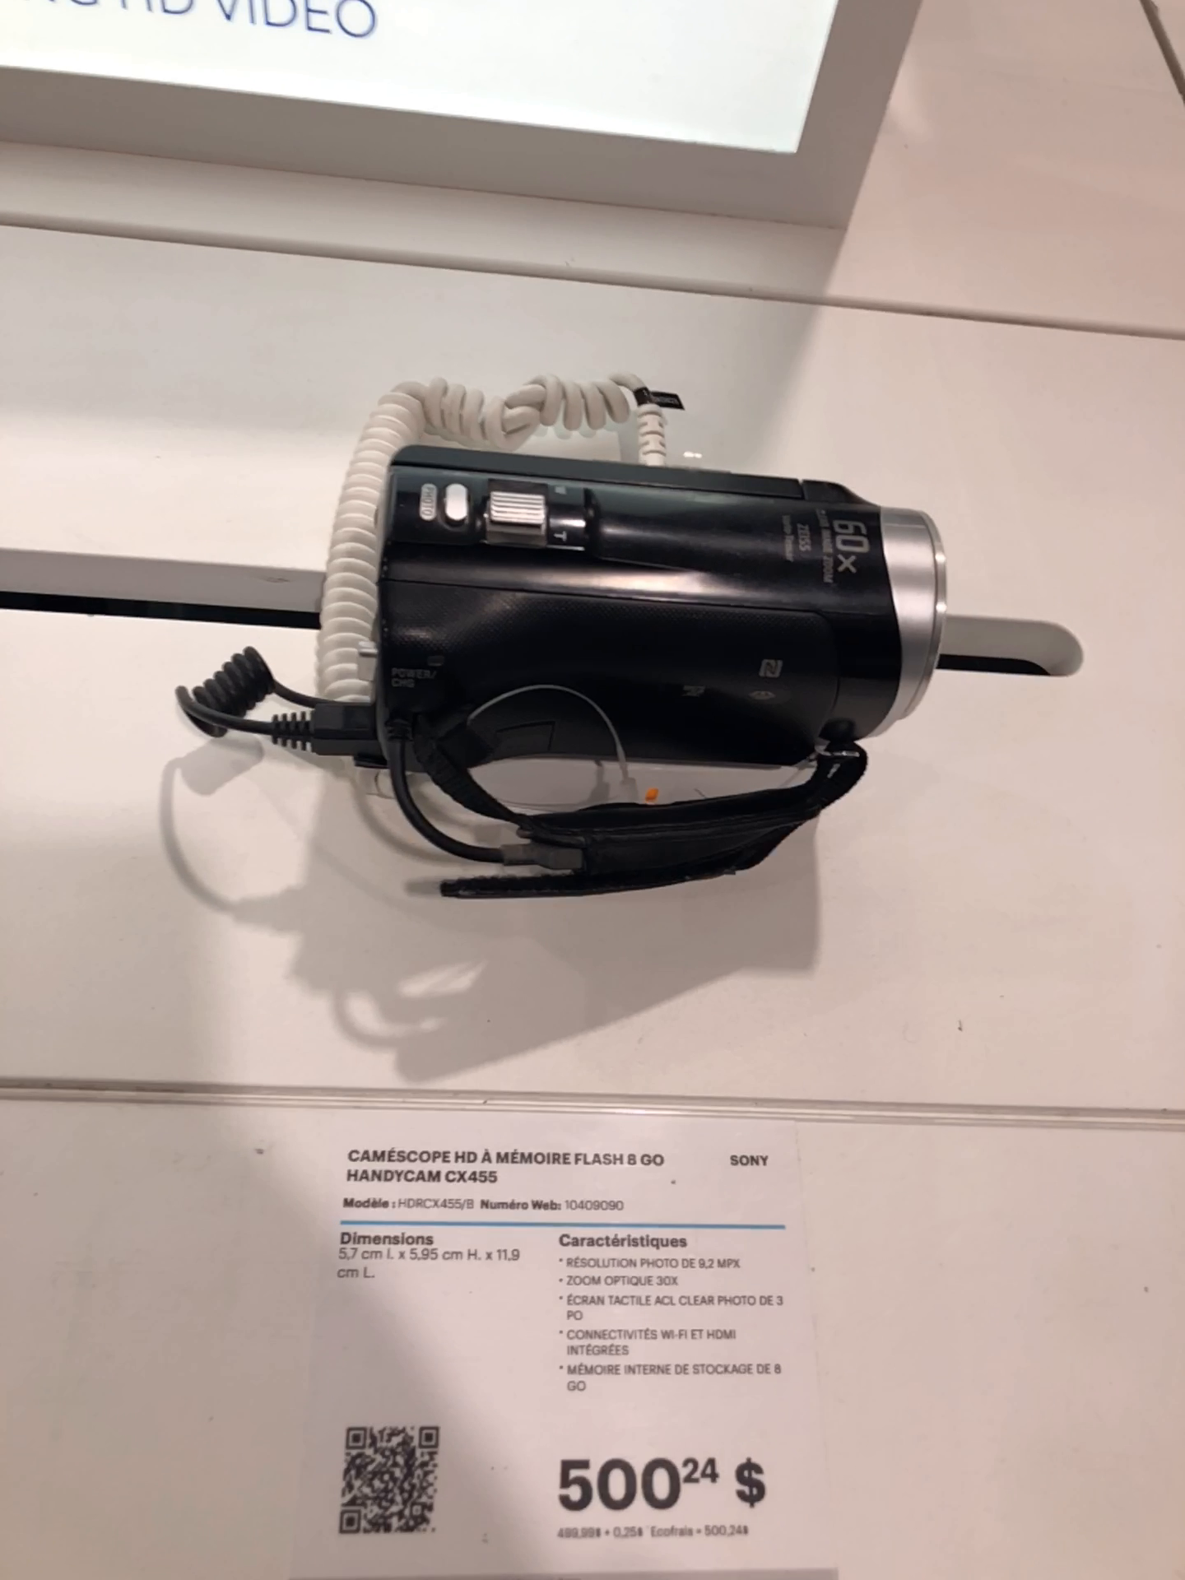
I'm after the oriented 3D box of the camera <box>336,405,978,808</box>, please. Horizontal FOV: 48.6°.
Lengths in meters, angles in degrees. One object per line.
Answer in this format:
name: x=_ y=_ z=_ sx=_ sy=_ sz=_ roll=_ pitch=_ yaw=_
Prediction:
camera: x=0.009 y=-0.037 z=0.283 sx=0.121 sy=0.058 sz=0.057 roll=2 pitch=59 yaw=-7
